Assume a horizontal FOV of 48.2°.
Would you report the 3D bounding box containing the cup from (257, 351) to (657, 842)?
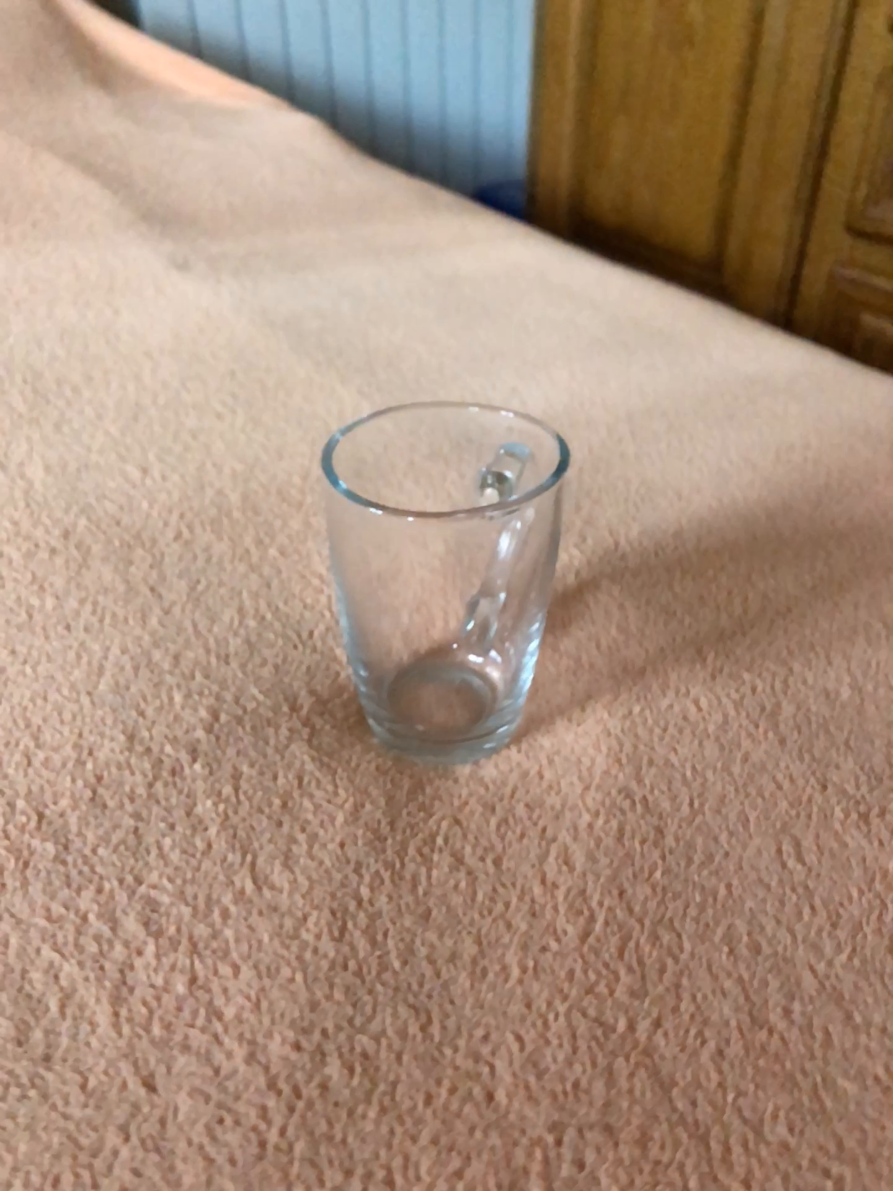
[{"bbox_3d":[0.008,-0.006,0.289,0.070,0.089,0.101,15,37,21],"label":"cup"}]
